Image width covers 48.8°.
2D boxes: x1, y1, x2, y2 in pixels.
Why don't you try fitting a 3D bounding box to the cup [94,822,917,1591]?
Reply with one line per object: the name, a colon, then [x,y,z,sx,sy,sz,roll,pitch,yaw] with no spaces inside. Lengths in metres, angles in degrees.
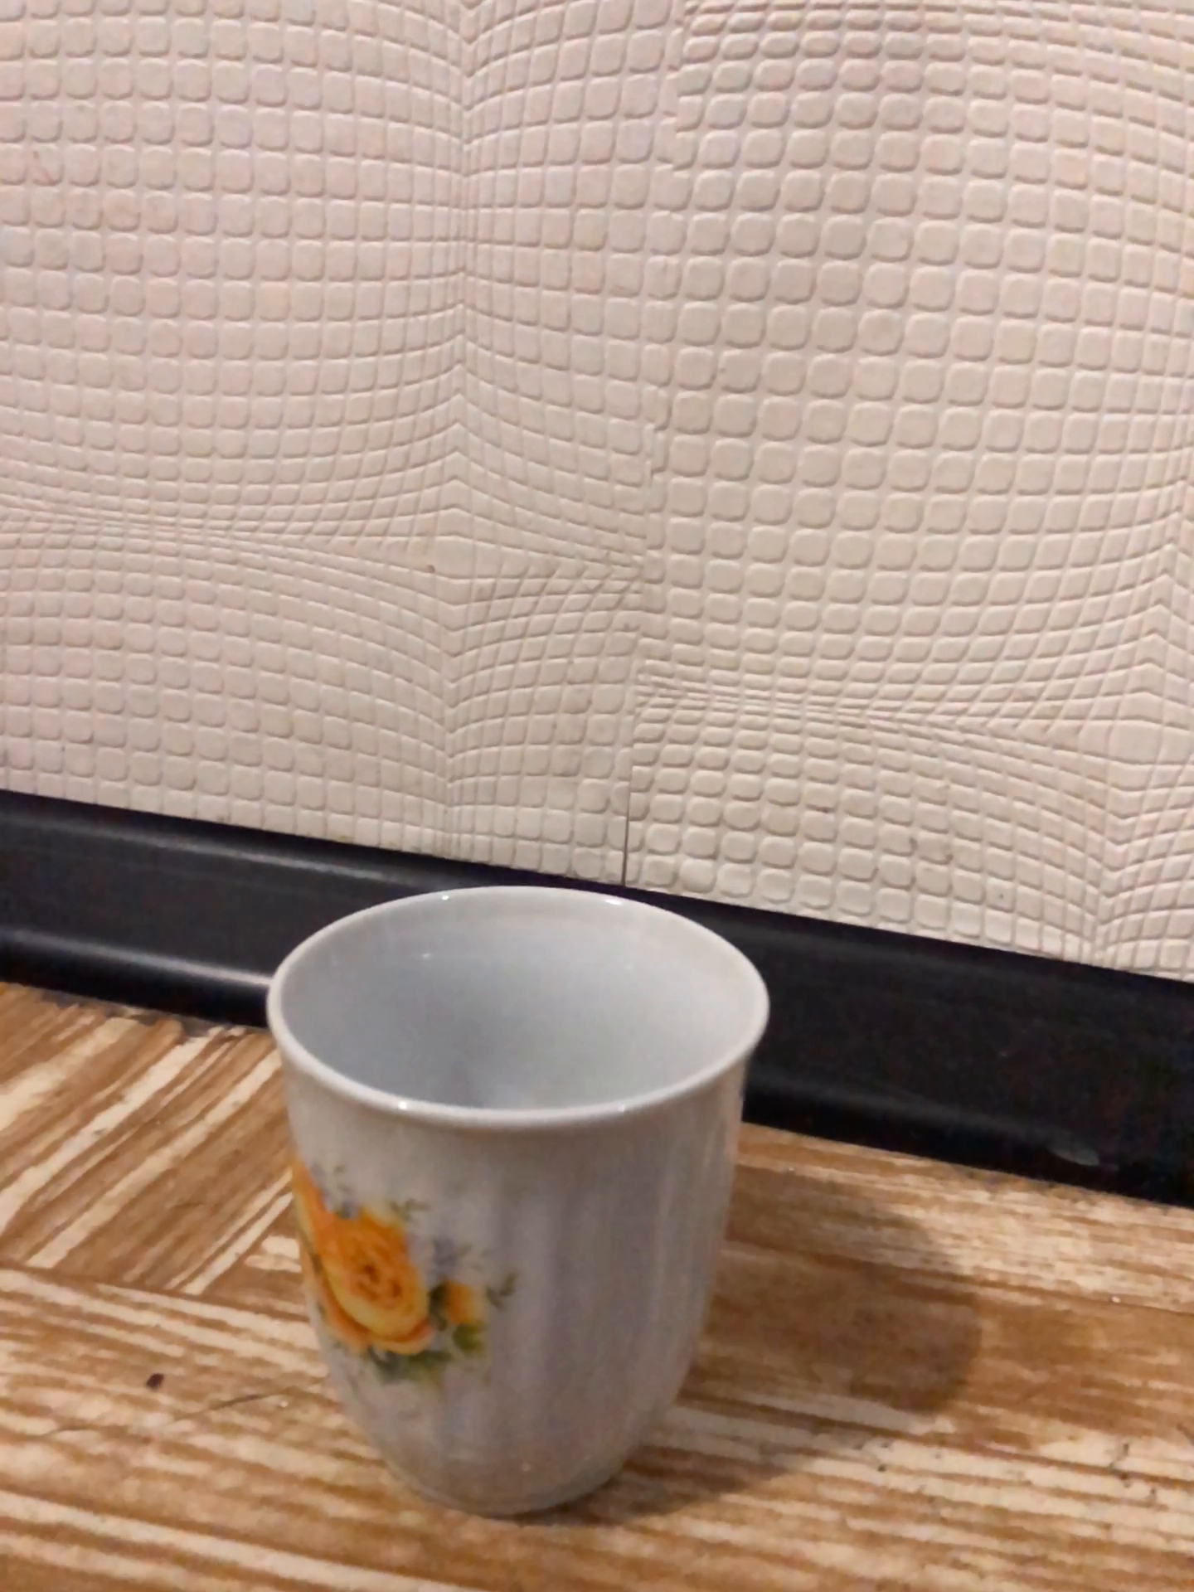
cup: [-0.015,0.060,0.227,0.097,0.069,0.094,3,18,-1]
